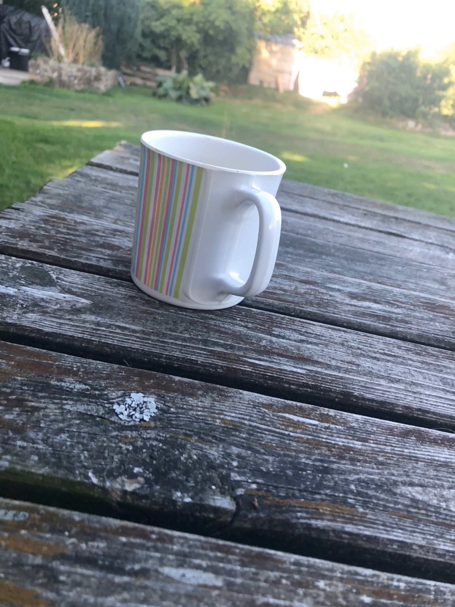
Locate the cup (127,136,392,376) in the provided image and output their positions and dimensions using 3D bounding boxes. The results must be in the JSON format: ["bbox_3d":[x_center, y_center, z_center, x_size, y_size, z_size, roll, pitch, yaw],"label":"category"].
[{"bbox_3d":[0.009,-0.041,0.327,0.099,0.096,0.134,-8,34,-31],"label":"cup"}]
